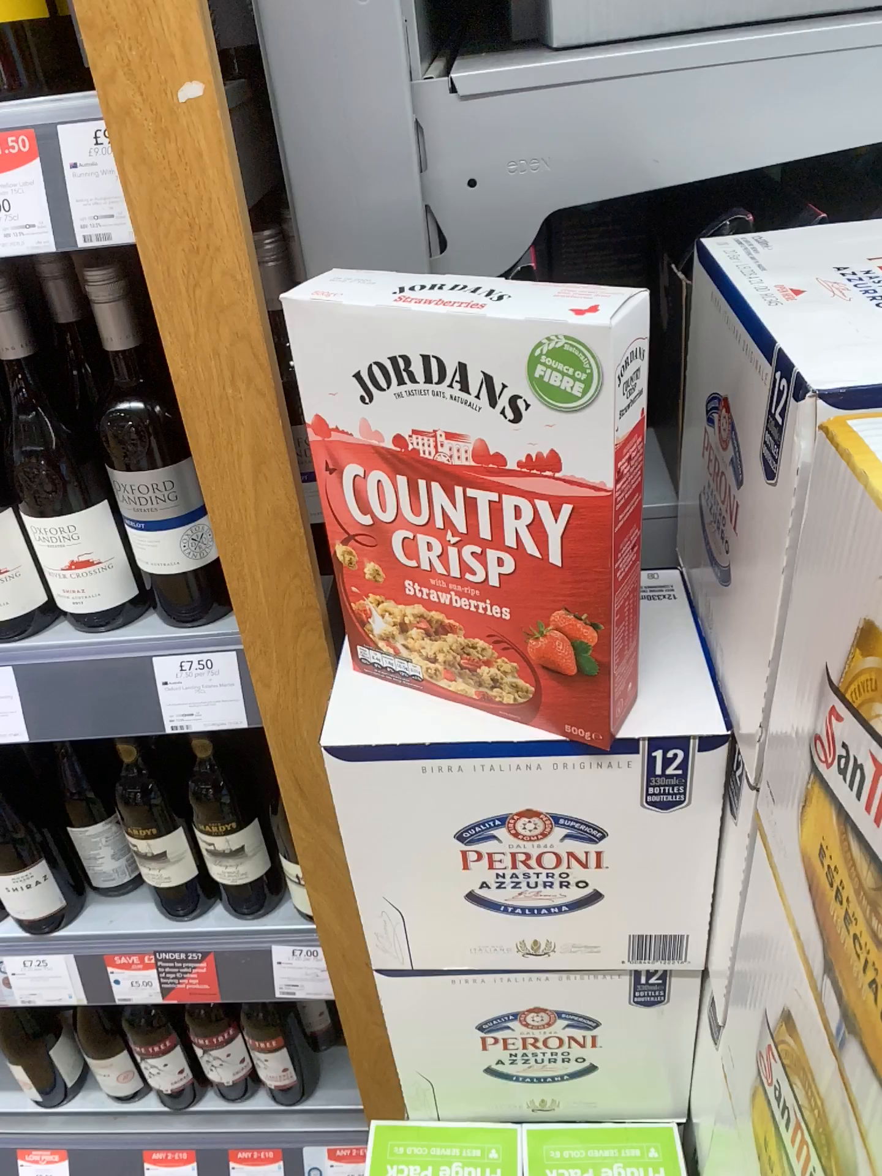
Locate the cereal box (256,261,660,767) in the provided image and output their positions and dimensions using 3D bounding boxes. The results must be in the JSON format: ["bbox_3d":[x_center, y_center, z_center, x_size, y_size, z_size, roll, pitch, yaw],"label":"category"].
[{"bbox_3d":[0.014,-0.039,0.490,0.191,0.248,0.050,14,38,29],"label":"cereal box"}]
